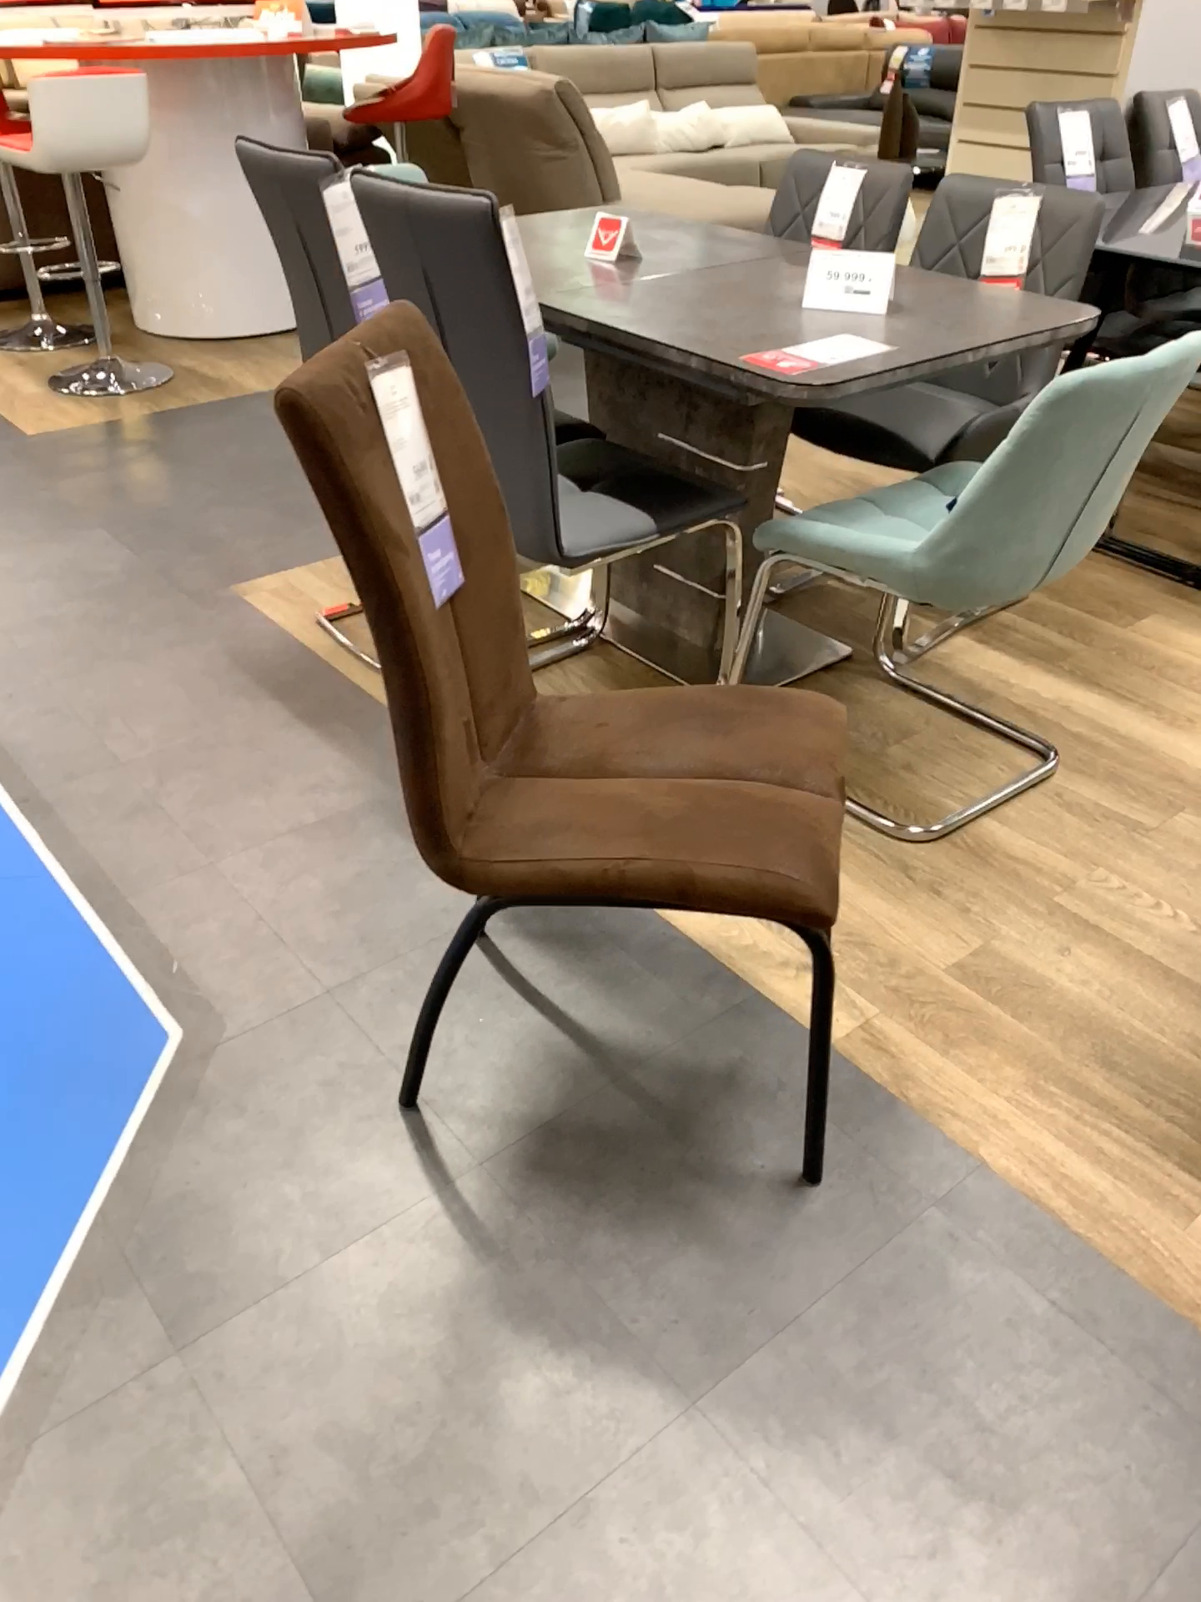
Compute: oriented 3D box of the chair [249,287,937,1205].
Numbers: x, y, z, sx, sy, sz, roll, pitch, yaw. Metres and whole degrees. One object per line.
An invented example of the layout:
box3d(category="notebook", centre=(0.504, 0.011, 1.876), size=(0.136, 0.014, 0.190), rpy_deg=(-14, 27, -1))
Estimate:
box3d(category="chair", centre=(0.018, -0.050, 1.480), size=(0.590, 0.964, 0.443), rpy_deg=(6, 34, 8))
